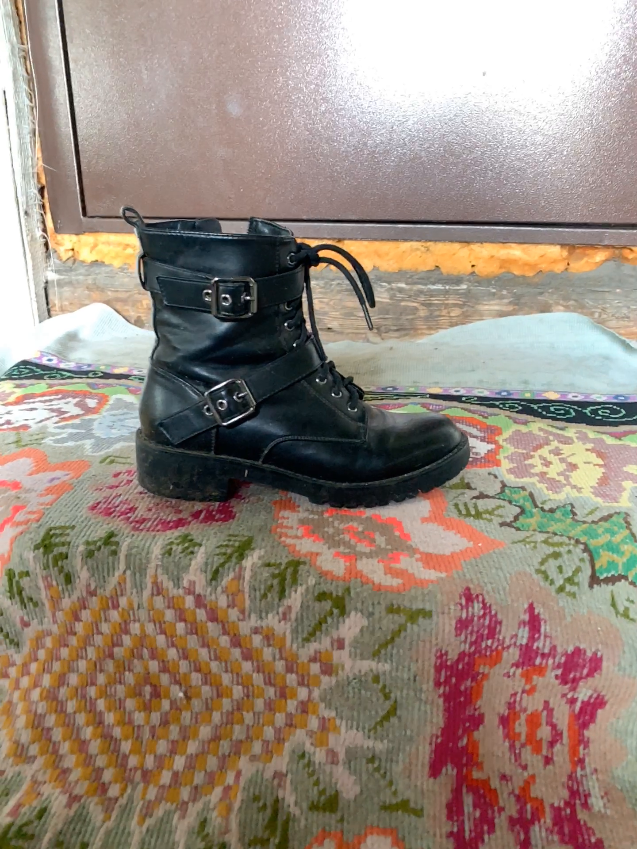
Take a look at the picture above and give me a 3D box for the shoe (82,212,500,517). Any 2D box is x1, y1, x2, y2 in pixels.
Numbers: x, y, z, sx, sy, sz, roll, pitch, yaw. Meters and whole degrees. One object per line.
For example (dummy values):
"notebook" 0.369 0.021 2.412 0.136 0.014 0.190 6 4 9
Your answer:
"shoe" -0.016 -0.044 0.448 0.240 0.189 0.091 1 20 1
